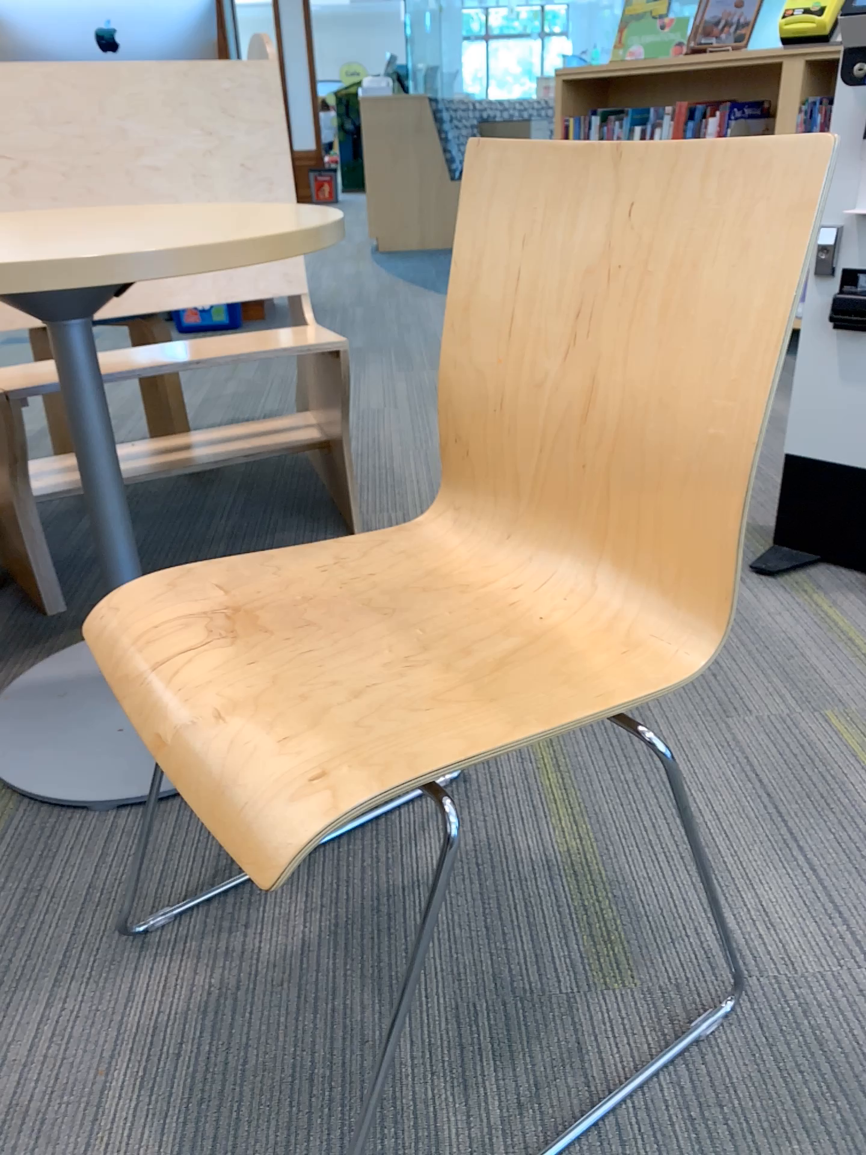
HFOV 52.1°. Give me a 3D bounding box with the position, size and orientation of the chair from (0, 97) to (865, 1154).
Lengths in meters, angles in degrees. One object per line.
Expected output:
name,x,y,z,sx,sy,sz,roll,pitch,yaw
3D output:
chair,-0.008,0.035,0.816,0.621,0.806,0.562,-20,31,-32
